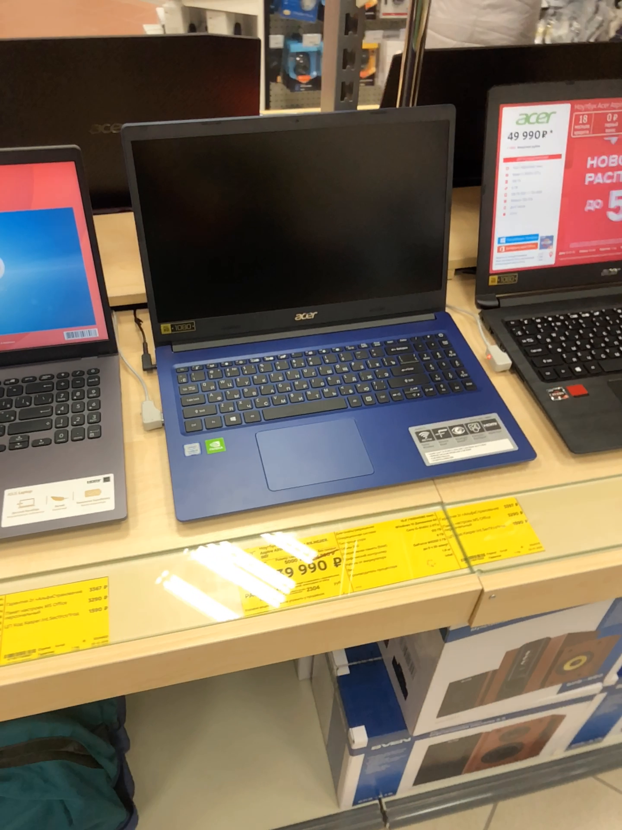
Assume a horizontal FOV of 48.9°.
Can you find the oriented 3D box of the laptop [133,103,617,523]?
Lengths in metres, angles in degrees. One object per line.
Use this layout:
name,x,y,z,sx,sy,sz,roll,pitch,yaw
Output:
laptop,0.026,-0.124,0.694,0.357,0.221,0.328,-8,47,-11
